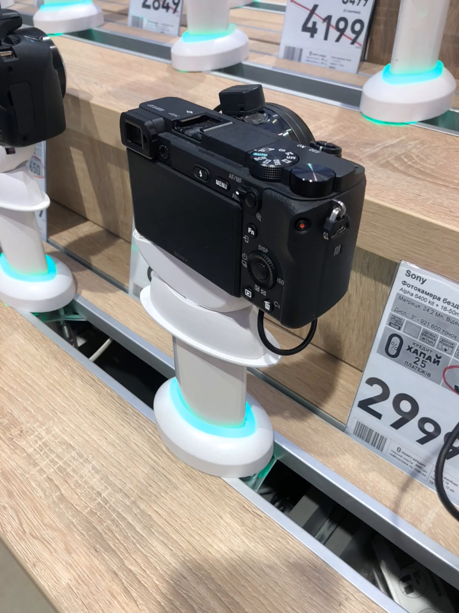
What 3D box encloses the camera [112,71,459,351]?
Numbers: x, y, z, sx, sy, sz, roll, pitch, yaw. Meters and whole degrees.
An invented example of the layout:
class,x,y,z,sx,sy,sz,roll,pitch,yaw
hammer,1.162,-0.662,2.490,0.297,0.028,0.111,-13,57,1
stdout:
class,x,y,z,sx,sy,sz,roll,pitch,yaw
camera,0.022,-0.058,0.249,0.098,0.069,0.122,-29,47,-32
